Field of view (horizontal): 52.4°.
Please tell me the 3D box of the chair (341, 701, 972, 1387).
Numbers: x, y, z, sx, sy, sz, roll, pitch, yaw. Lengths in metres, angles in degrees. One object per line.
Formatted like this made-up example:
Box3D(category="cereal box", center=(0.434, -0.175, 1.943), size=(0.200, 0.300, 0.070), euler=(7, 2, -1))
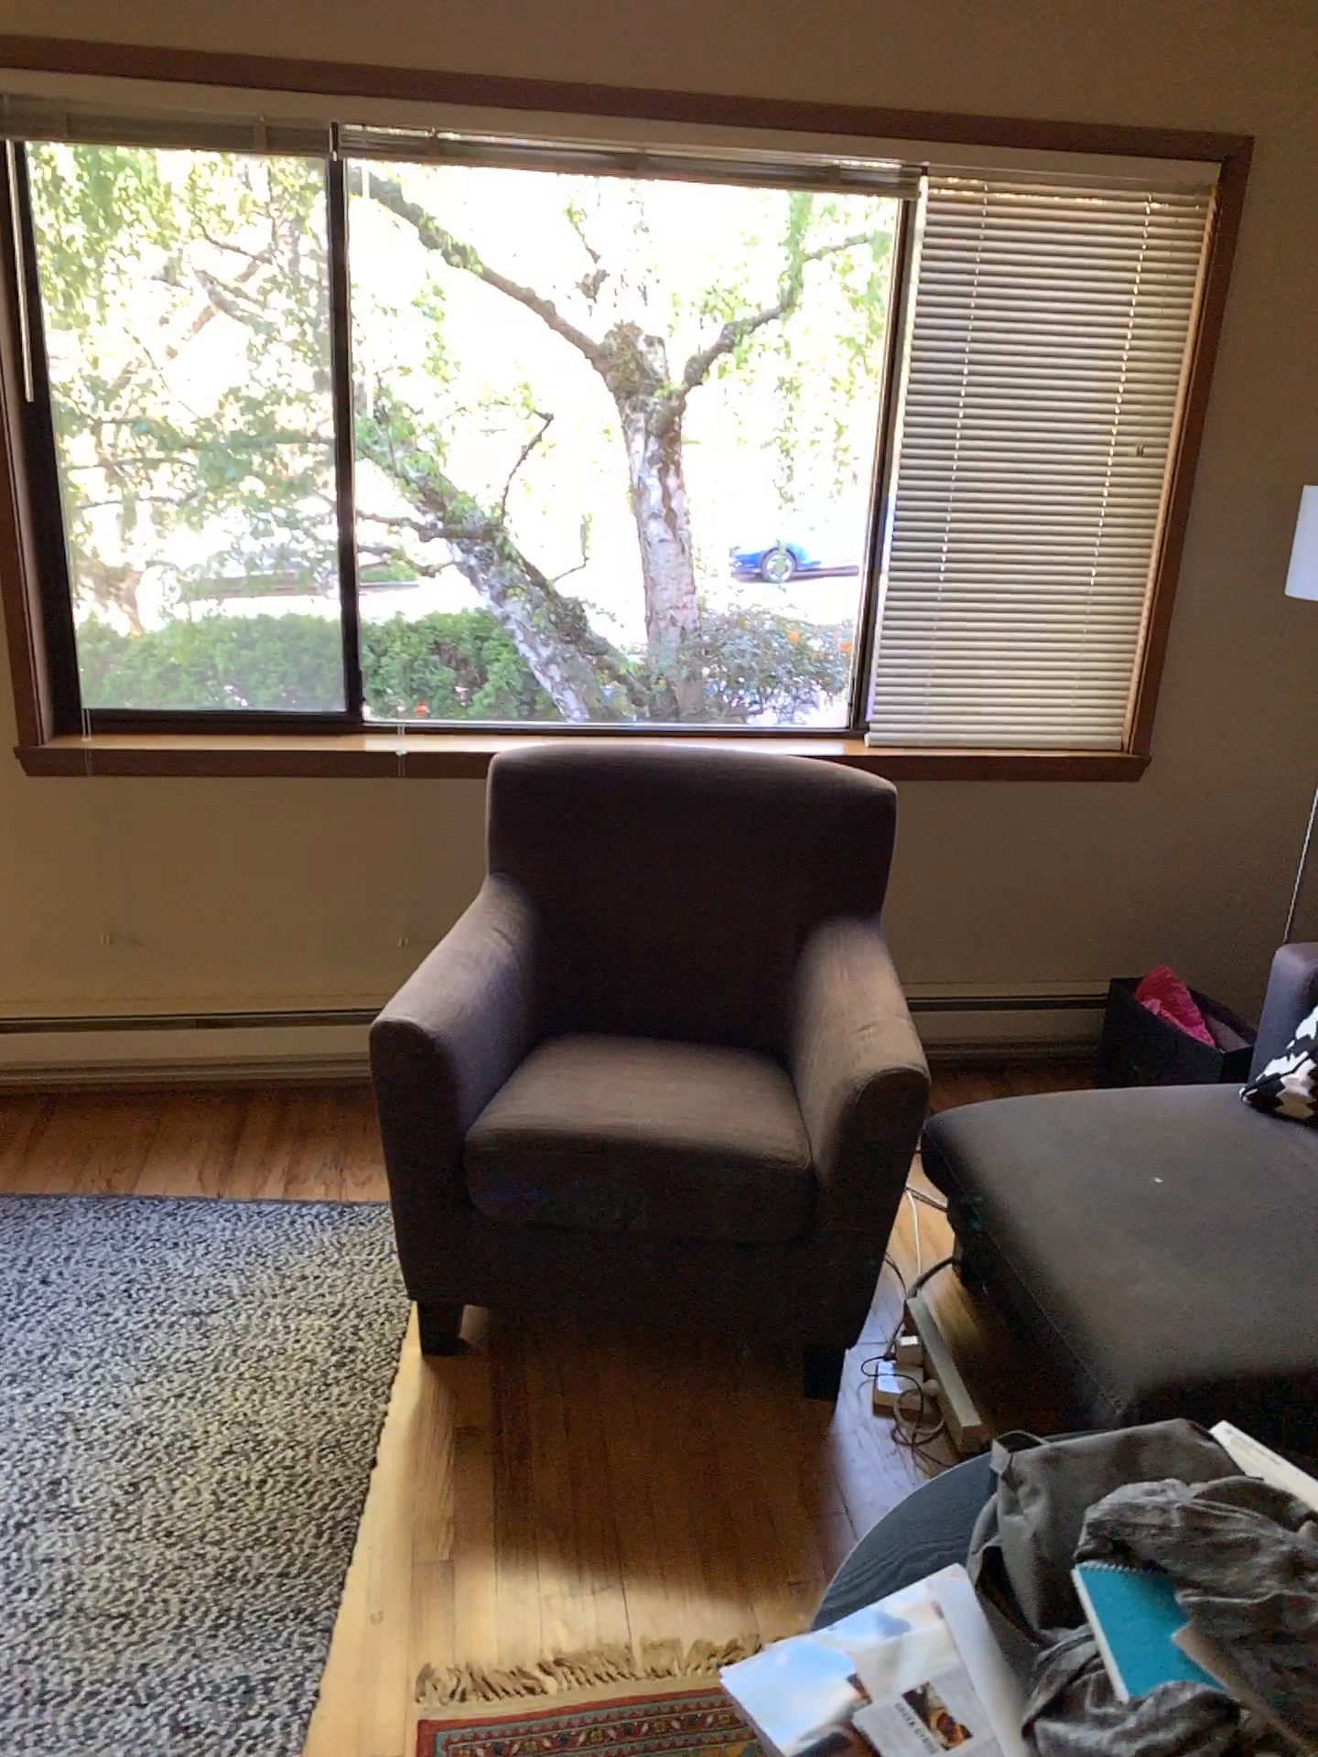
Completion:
Box3D(category="chair", center=(0.003, 0.218, 2.363), size=(0.880, 0.876, 0.803), euler=(4, 17, 4))
